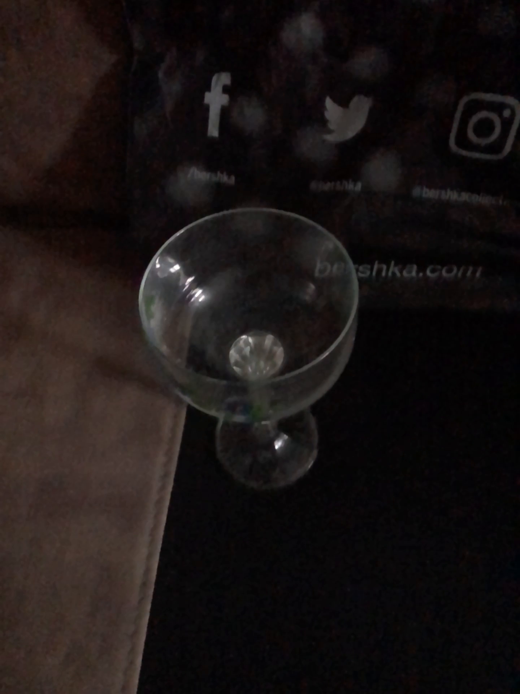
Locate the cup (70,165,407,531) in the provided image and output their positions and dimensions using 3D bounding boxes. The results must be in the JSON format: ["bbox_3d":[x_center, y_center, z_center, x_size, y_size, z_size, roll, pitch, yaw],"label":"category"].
[{"bbox_3d":[-0.005,0.011,0.283,0.096,0.147,0.085,32,67,18],"label":"cup"}]
